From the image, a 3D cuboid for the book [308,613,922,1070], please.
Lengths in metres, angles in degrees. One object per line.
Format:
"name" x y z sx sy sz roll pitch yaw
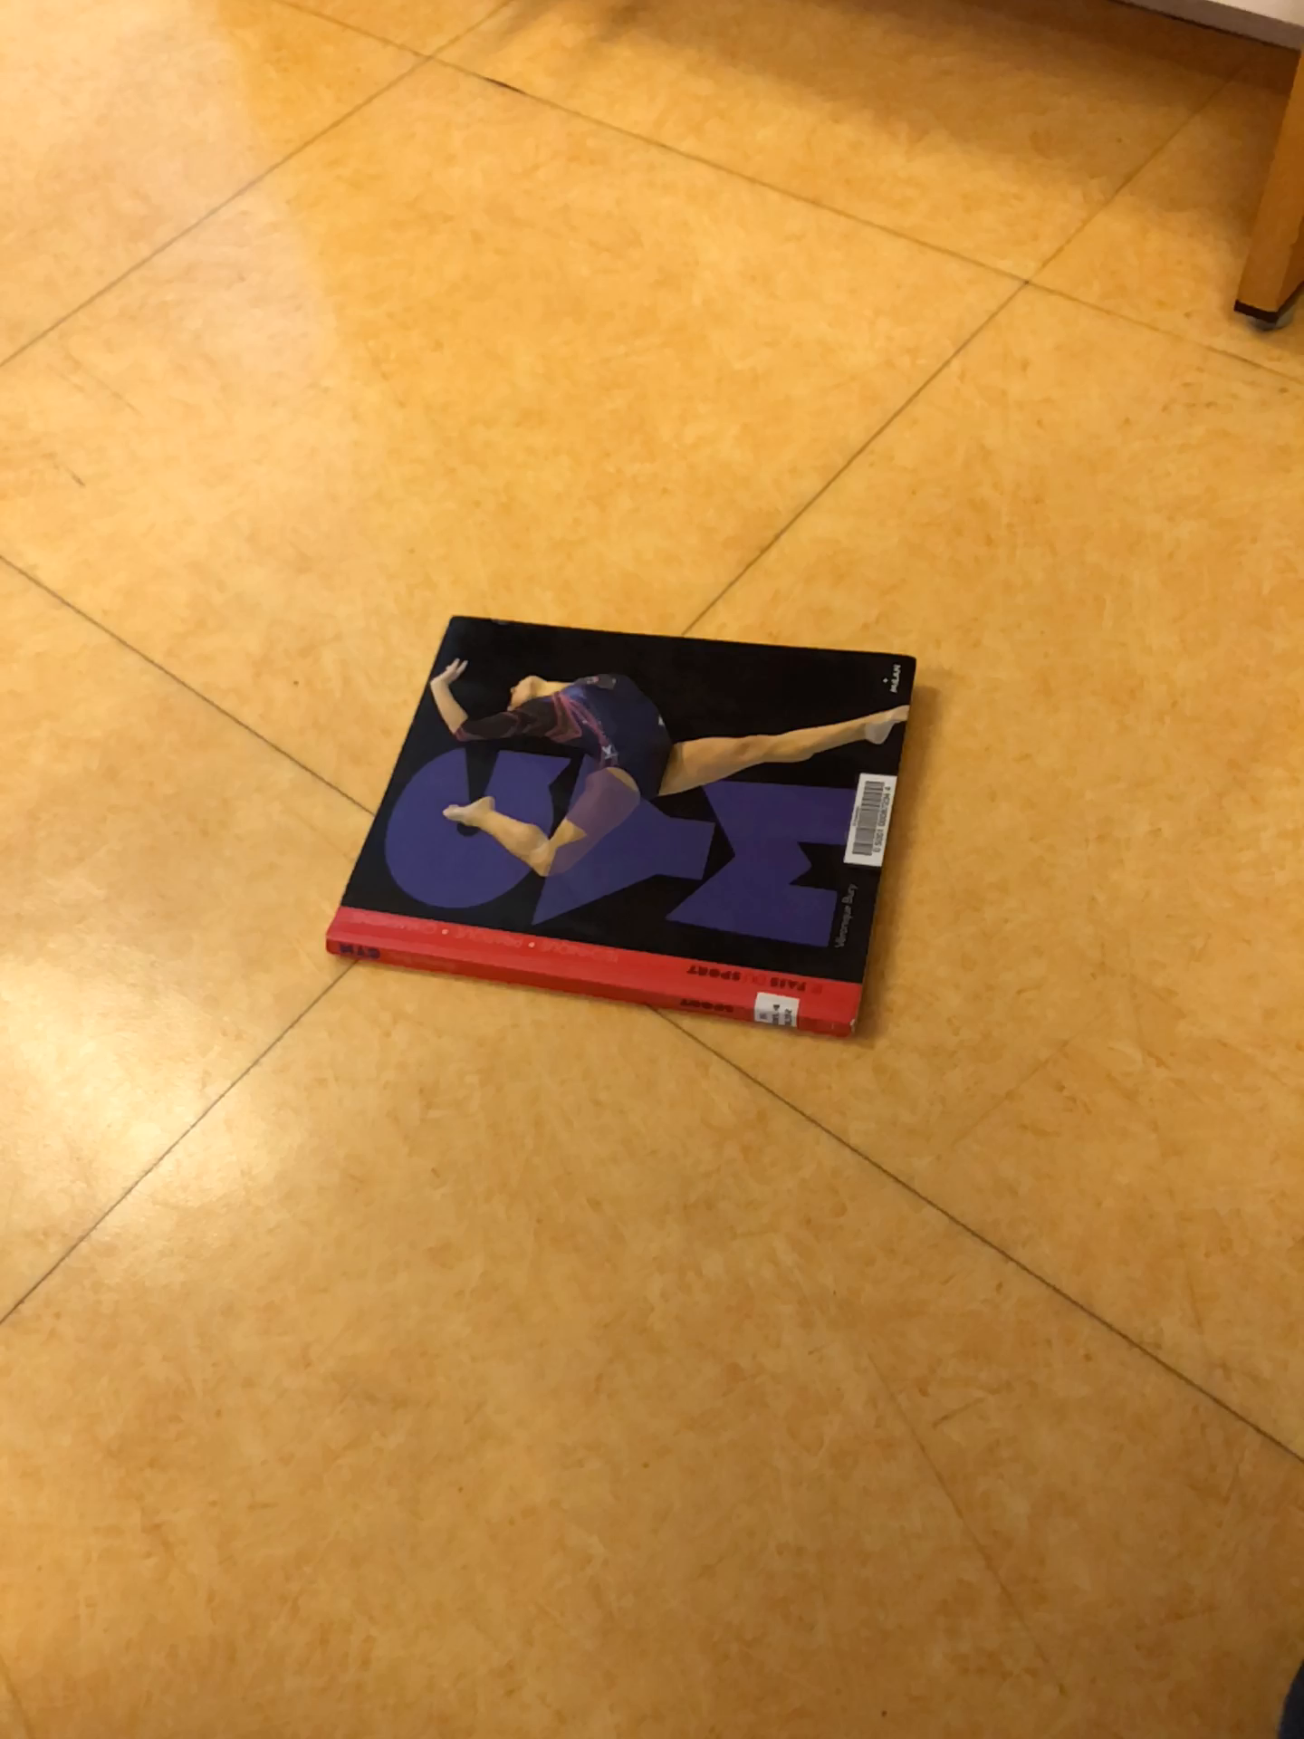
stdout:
"book" -0.009 -0.022 0.641 0.233 0.030 0.194 7 59 12
